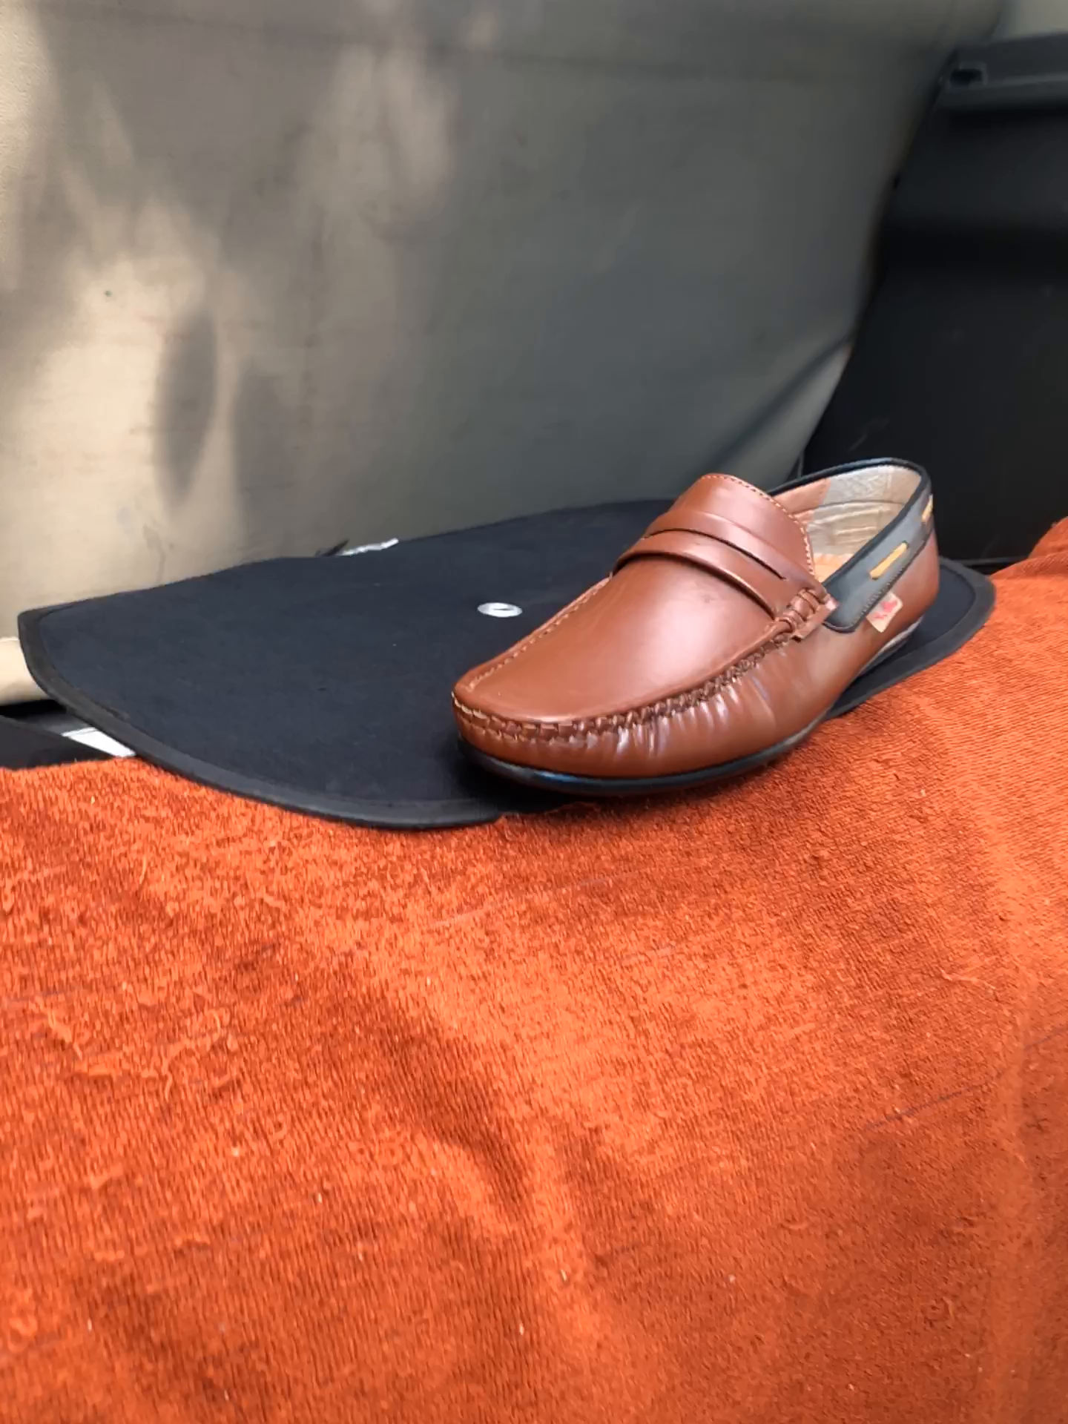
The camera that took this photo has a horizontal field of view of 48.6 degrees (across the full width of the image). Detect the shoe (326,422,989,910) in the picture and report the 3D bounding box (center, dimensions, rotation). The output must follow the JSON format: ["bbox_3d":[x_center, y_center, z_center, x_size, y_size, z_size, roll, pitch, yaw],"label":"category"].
[{"bbox_3d":[0.065,-0.041,0.455,0.110,0.070,0.282,19,33,34],"label":"shoe"}]
